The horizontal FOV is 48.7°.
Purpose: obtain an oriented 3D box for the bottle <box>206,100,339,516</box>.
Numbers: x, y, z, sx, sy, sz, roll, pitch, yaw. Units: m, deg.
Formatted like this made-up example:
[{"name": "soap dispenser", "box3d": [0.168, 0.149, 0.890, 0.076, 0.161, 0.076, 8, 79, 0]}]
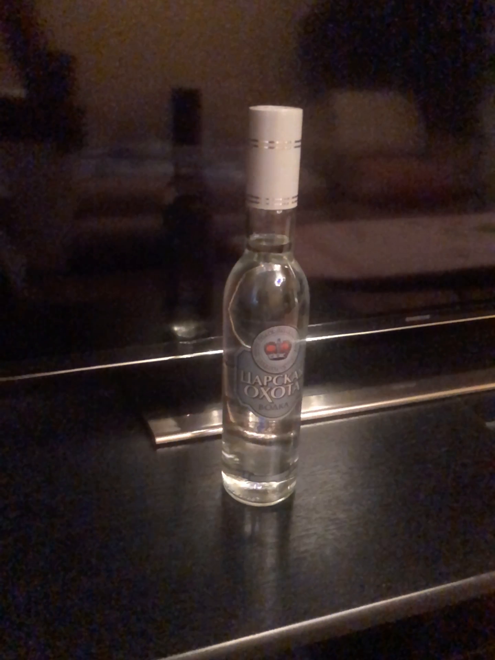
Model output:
[{"name": "bottle", "box3d": [0.011, -0.006, 0.393, 0.064, 0.290, 0.067, 0, 25, 0]}]
